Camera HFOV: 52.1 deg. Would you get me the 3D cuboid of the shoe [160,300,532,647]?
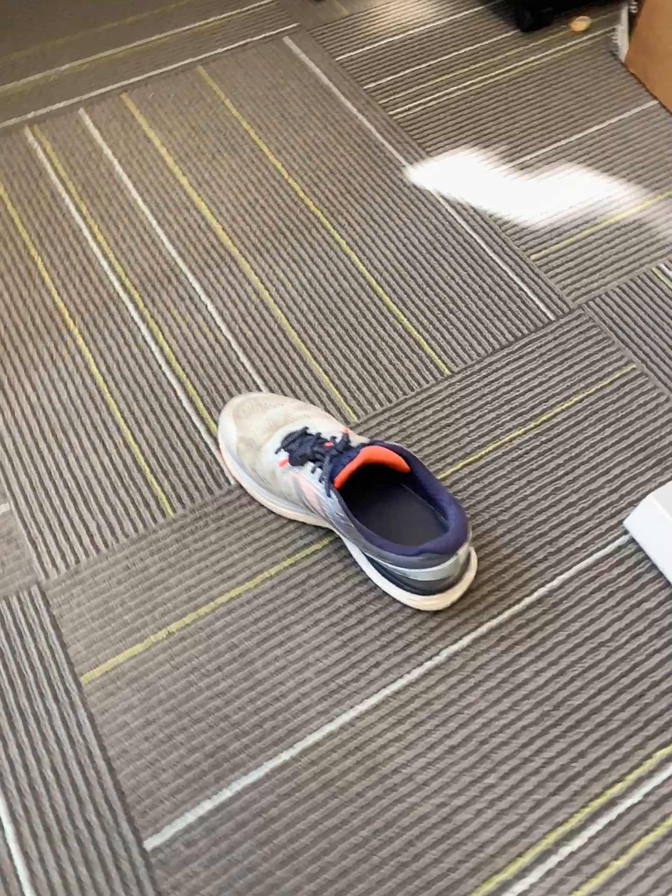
[{"bbox_3d":[0.000,0.017,0.596,0.301,0.110,0.110,38,68,19],"label":"shoe"}]
